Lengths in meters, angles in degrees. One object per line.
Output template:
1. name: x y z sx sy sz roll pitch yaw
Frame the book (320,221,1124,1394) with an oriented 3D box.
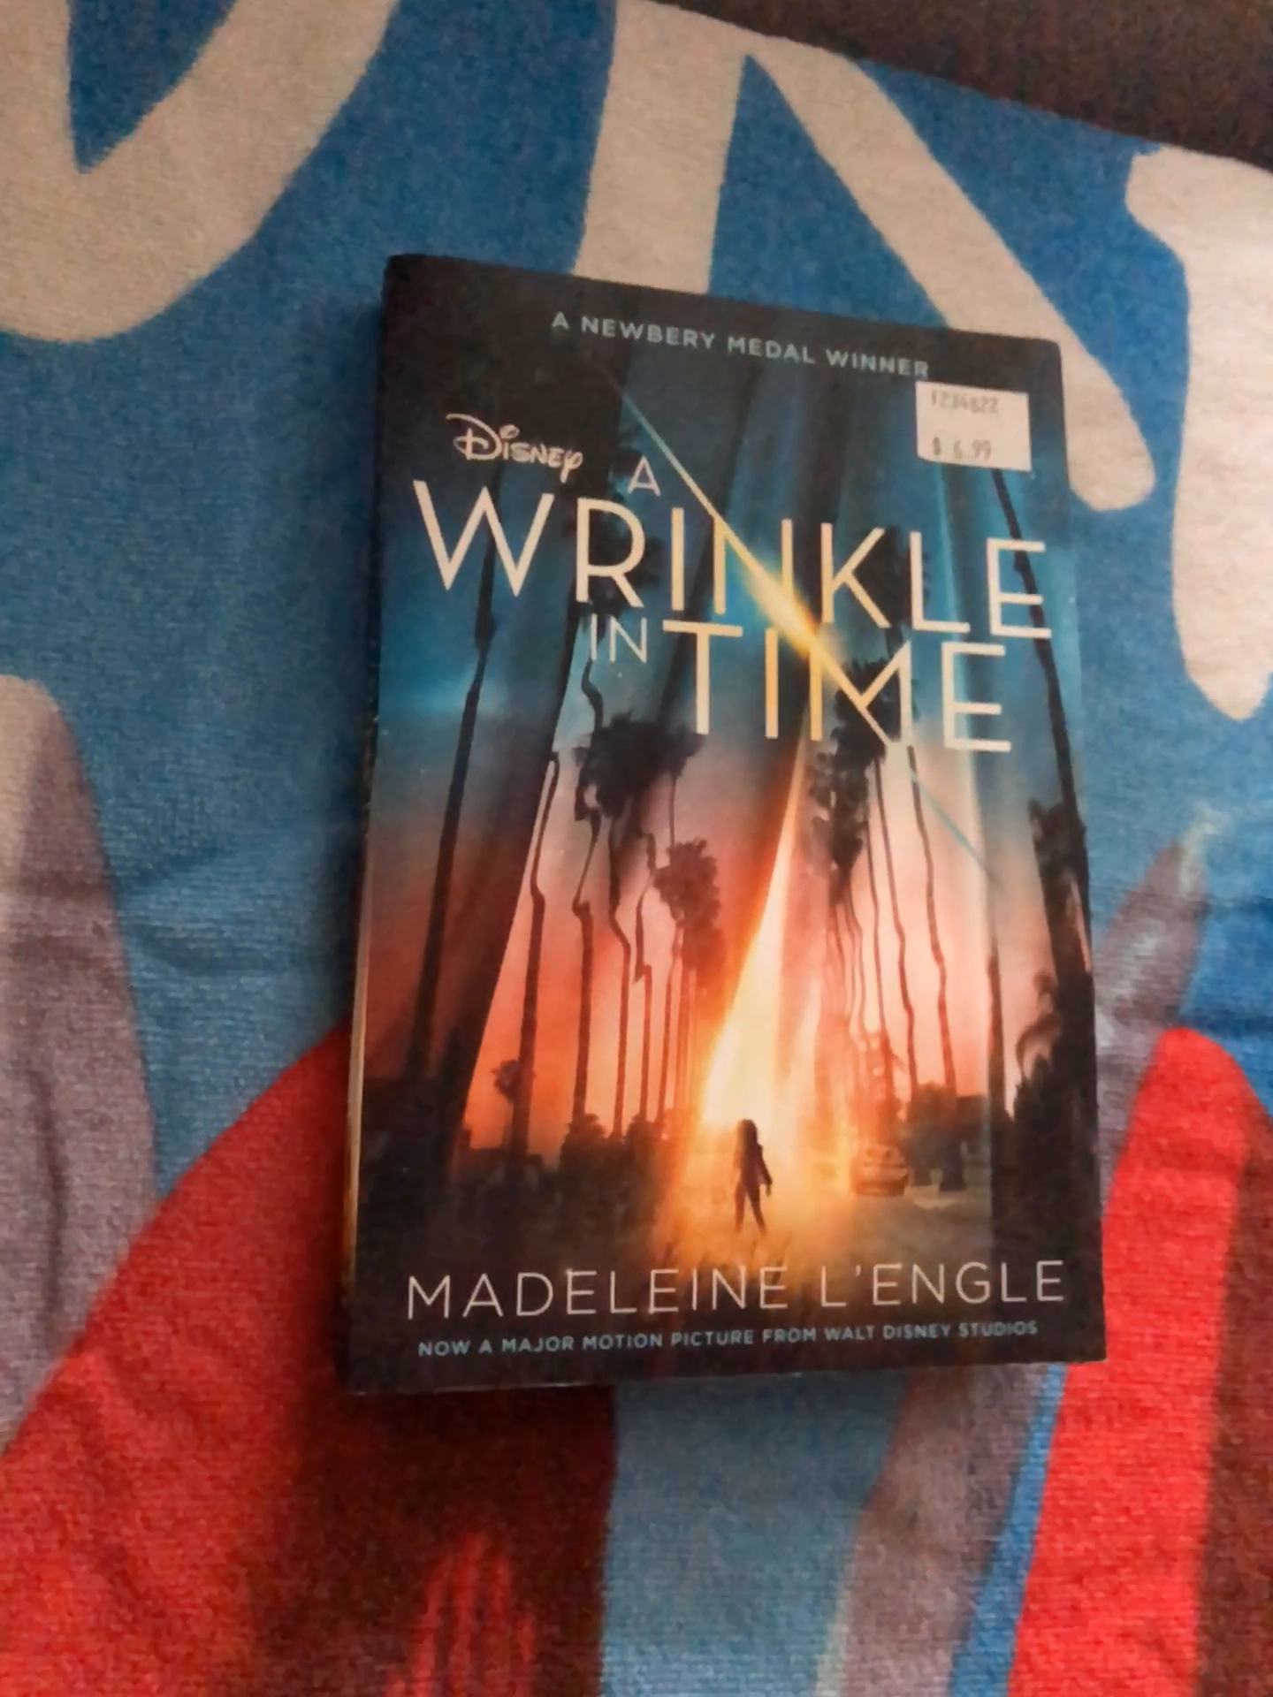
1. book: 0.019 -0.006 0.261 0.138 0.031 0.195 4 82 -12
